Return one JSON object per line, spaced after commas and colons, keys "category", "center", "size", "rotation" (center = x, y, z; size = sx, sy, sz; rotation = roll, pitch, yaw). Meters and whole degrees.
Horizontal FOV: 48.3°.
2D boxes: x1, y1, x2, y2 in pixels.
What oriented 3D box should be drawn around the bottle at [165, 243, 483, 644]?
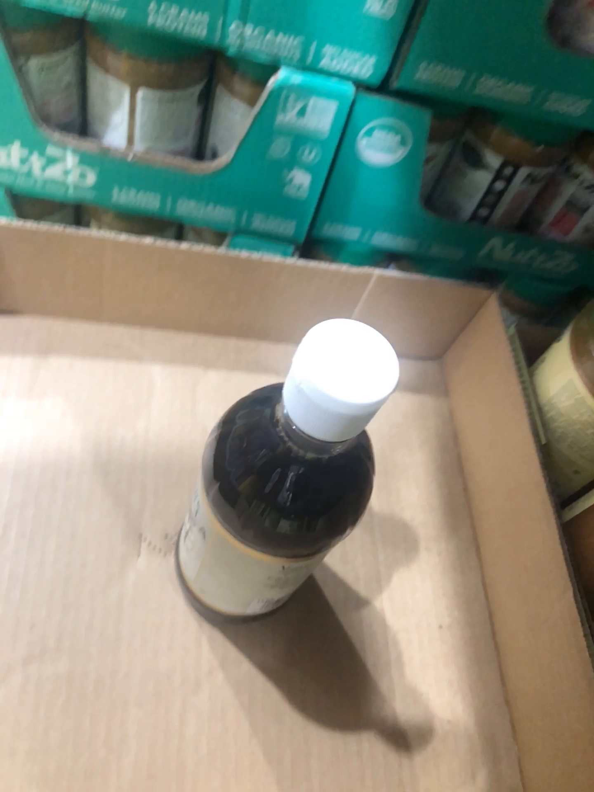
{"category": "bottle", "center": [-0.006, 0.040, 0.272], "size": [0.070, 0.199, 0.070], "rotation": [8, 56, -11]}
